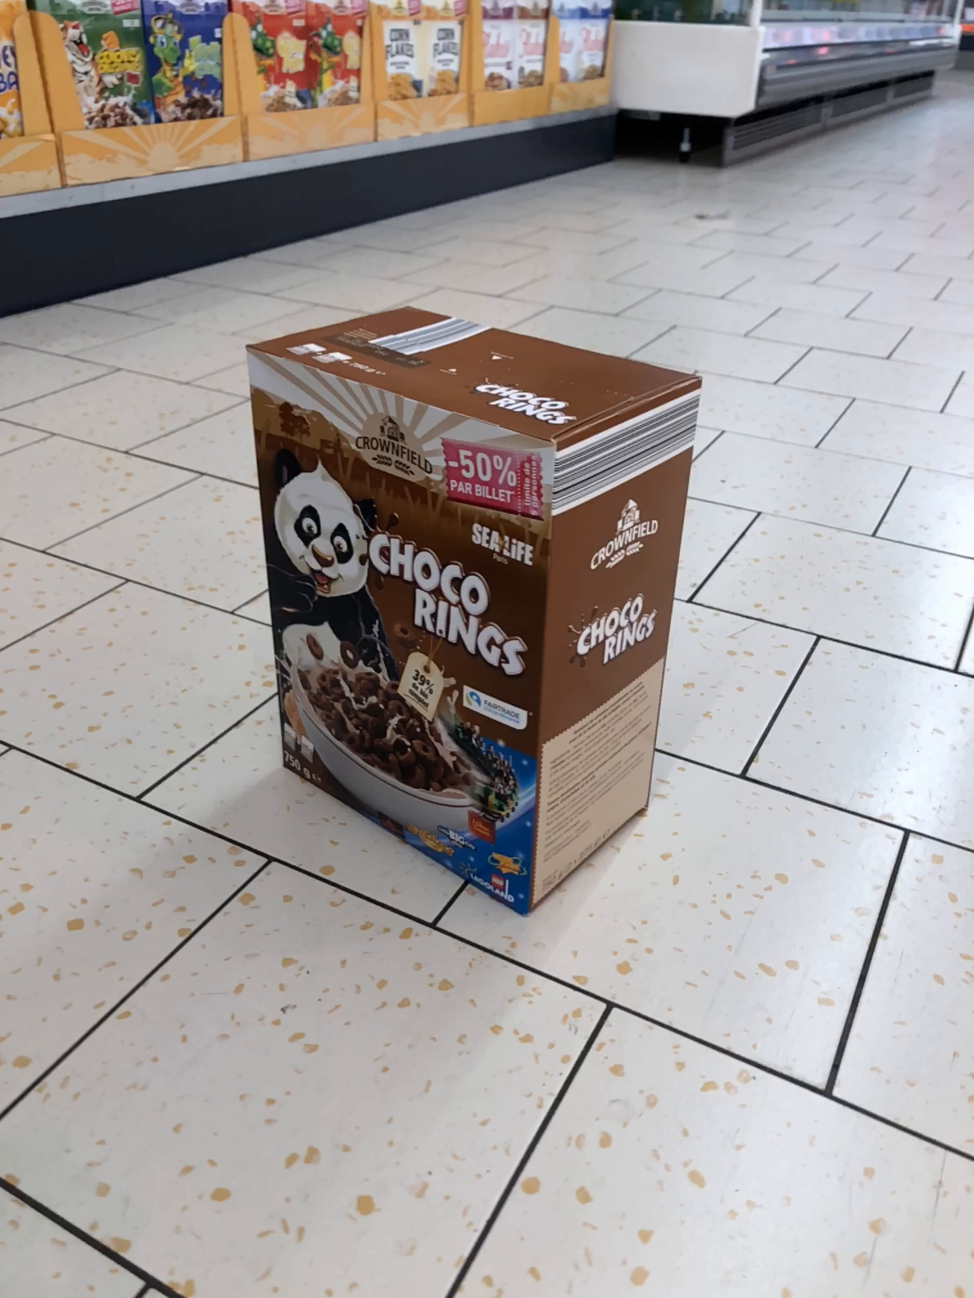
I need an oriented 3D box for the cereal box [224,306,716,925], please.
[{"bbox_3d":[-0.015,-0.029,0.574,0.200,0.248,0.131,25,38,34],"label":"cereal box"}]
